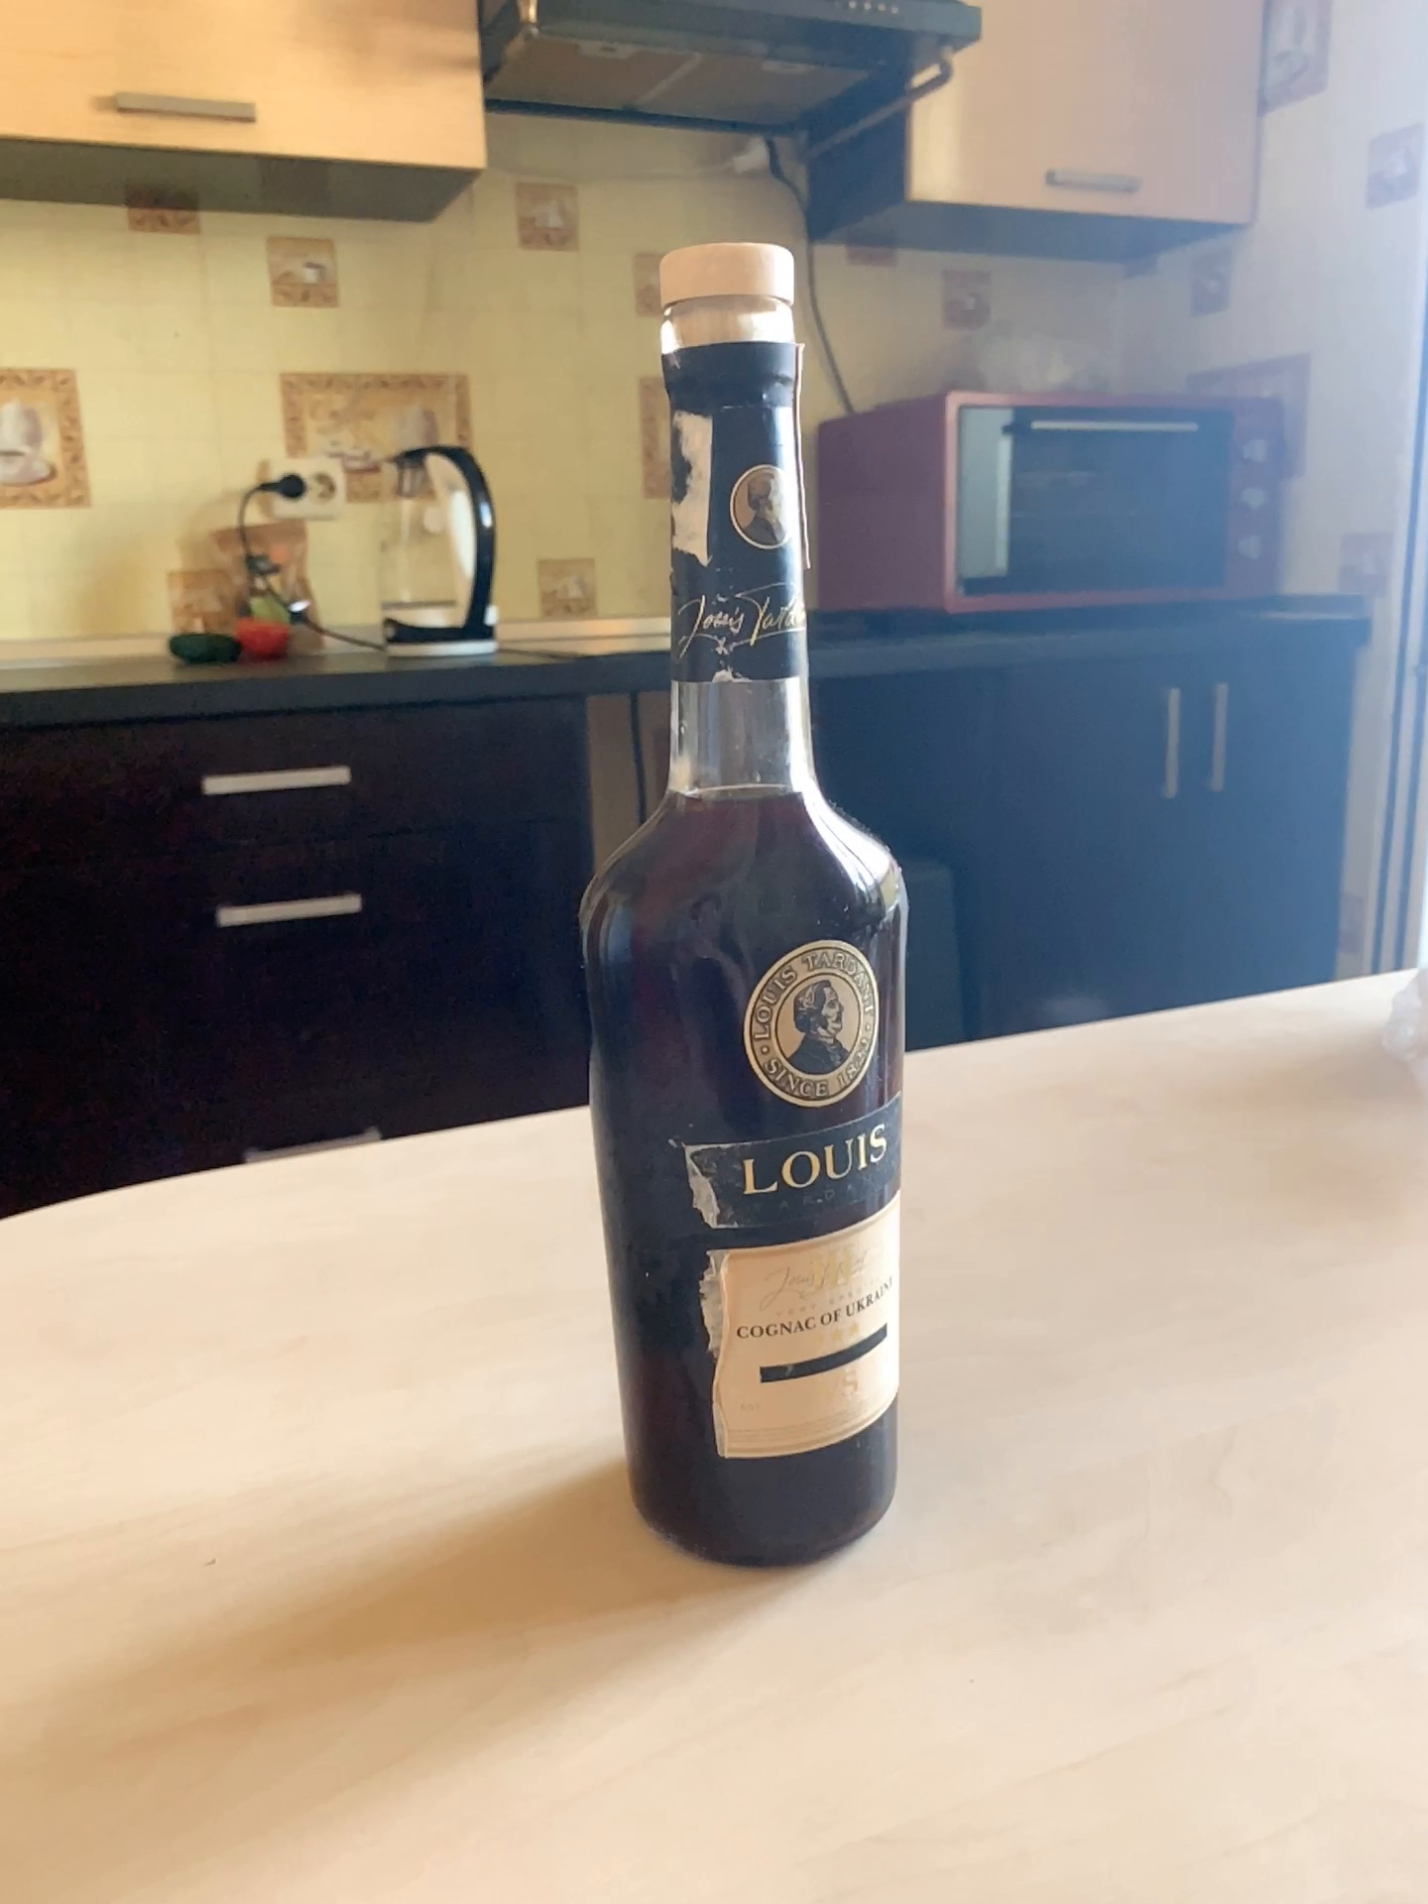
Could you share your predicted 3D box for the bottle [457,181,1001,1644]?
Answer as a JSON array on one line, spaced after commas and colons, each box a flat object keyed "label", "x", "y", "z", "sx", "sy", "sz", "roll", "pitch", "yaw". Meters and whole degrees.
[{"label": "bottle", "x": 0.006, "y": -0.005, "z": 0.339, "sx": 0.080, "sy": 0.289, "sz": 0.080, "roll": -1, "pitch": 14, "yaw": 0}]
